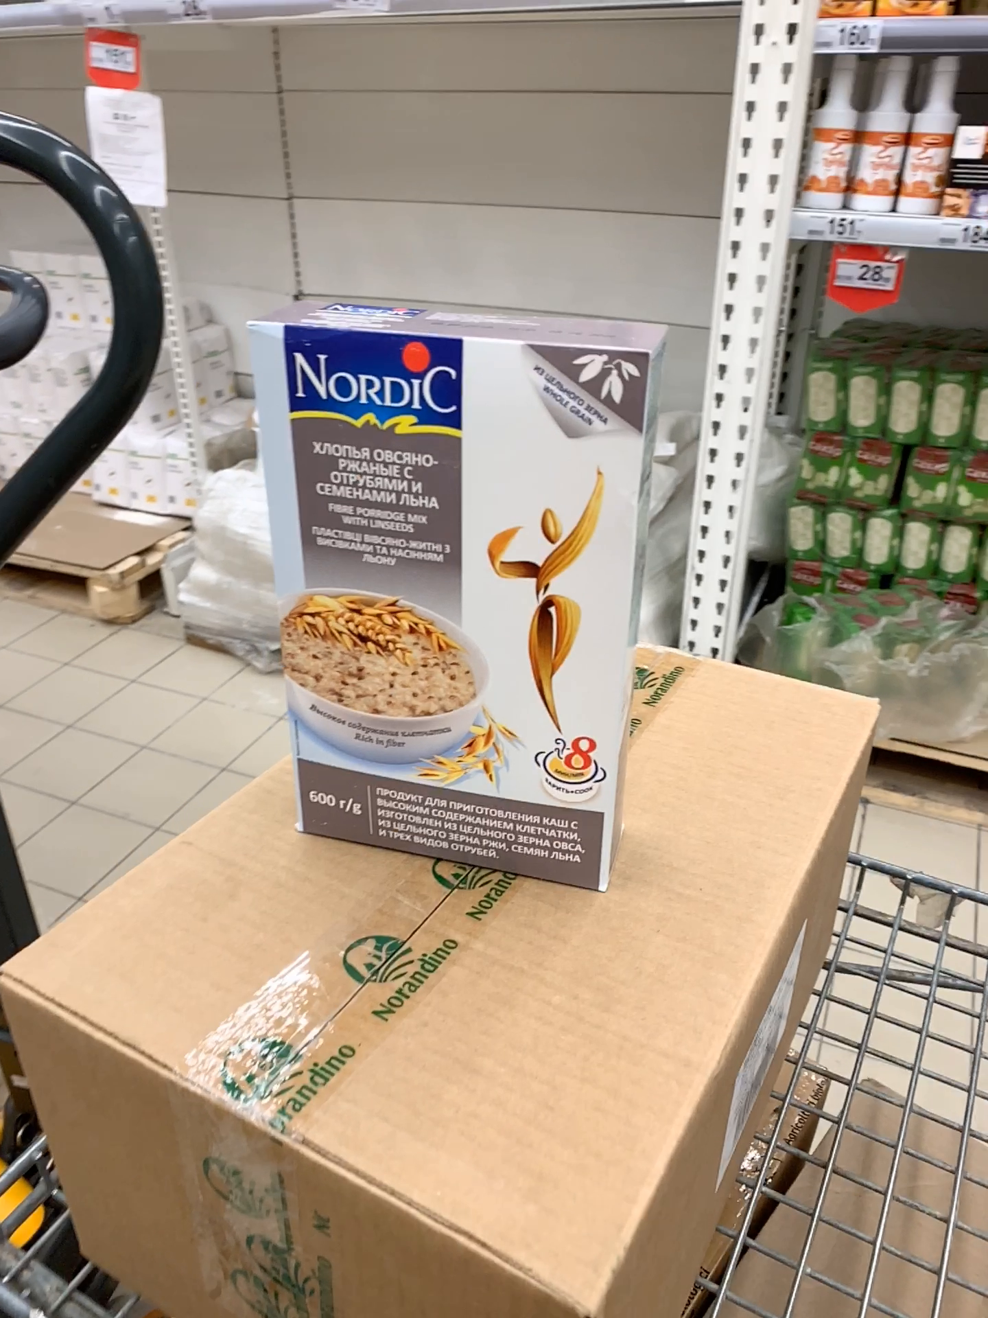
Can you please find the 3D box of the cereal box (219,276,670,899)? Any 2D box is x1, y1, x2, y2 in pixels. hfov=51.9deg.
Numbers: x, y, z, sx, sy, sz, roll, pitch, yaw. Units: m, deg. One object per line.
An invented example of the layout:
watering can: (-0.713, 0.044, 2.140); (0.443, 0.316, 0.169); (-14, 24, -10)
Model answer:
cereal box: (-0.016, -0.023, 0.416); (0.150, 0.239, 0.050); (8, 31, 14)
